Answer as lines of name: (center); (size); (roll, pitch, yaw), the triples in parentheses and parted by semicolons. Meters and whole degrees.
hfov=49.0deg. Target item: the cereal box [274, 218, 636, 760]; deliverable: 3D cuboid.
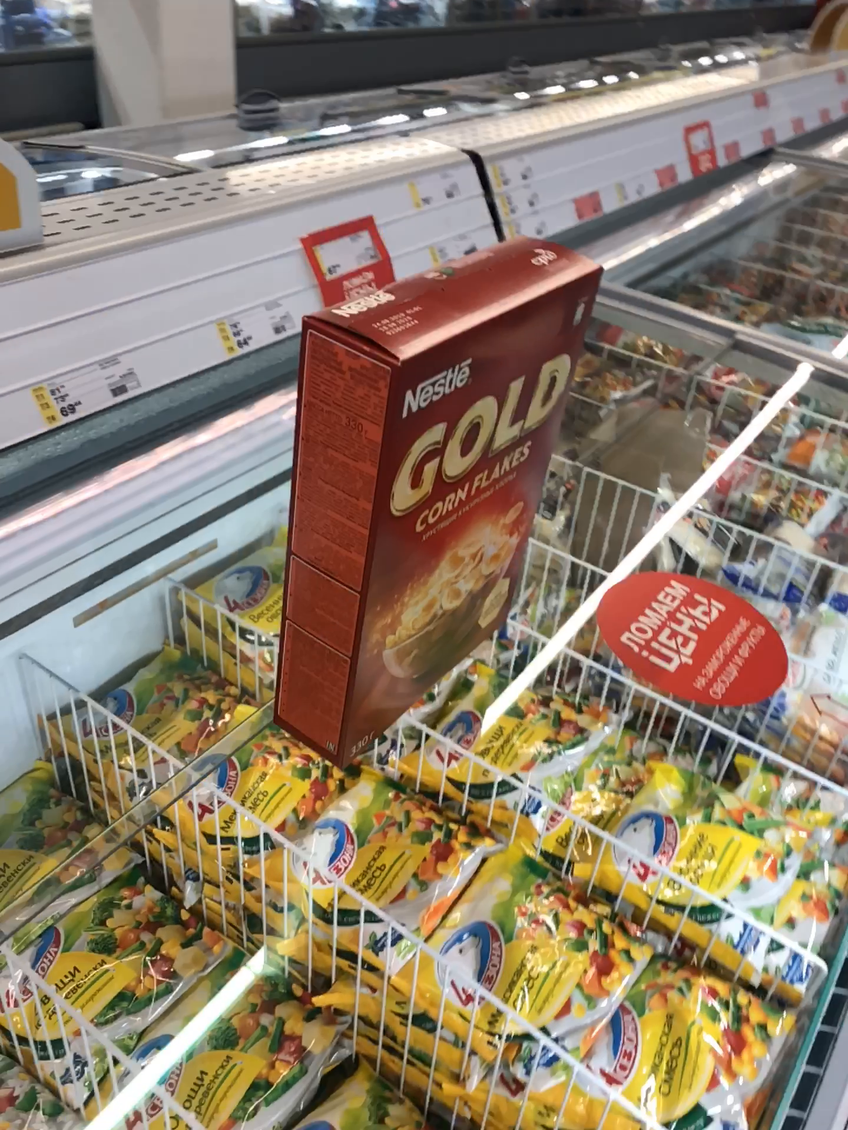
cereal box: (0.015, -0.046, 0.546); (0.060, 0.258, 0.211); (30, 42, 23)
